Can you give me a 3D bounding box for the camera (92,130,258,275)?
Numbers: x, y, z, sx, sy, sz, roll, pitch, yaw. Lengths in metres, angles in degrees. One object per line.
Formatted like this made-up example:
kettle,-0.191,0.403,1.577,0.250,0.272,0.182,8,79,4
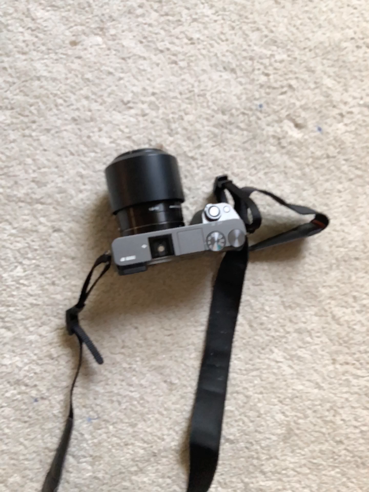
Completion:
camera,-0.013,-0.035,0.366,0.120,0.070,0.100,-10,88,-13
